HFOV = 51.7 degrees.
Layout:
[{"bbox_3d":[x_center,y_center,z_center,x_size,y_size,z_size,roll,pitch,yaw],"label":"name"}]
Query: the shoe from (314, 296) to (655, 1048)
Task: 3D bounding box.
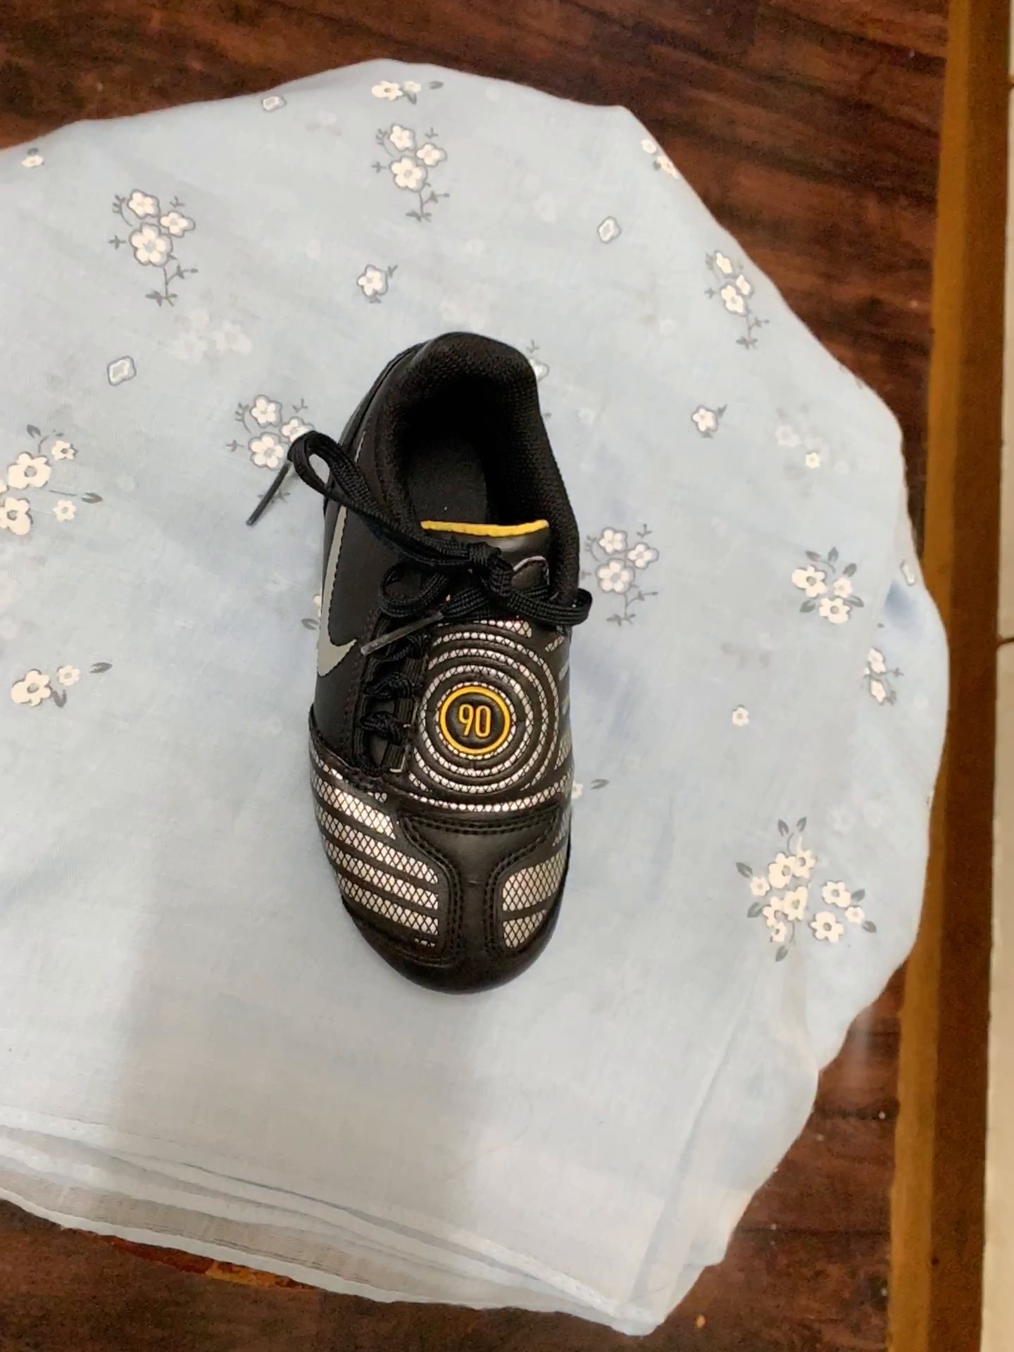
[{"bbox_3d":[-0.013,-0.001,0.305,0.080,0.070,0.190,0,81,-15],"label":"shoe"}]
